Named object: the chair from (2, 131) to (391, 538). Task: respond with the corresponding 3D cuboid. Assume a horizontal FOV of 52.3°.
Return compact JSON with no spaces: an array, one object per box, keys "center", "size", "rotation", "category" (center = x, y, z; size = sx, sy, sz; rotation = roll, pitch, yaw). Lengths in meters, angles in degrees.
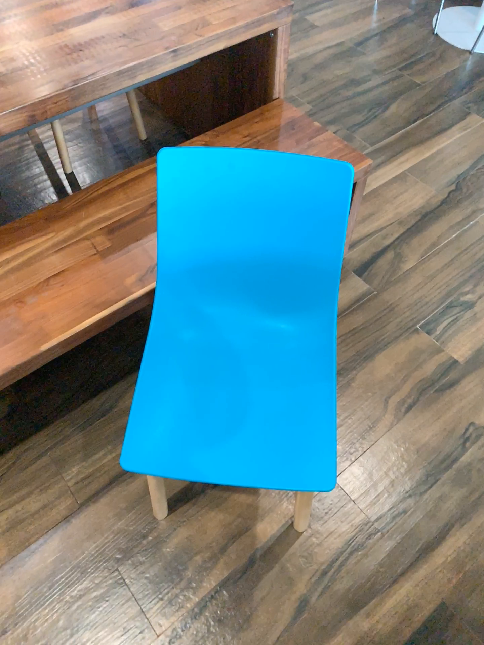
[{"center":[-0.043,0.066,1.082],"size":[0.510,0.666,0.584],"rotation":[5,55,2],"category":"chair"}]
